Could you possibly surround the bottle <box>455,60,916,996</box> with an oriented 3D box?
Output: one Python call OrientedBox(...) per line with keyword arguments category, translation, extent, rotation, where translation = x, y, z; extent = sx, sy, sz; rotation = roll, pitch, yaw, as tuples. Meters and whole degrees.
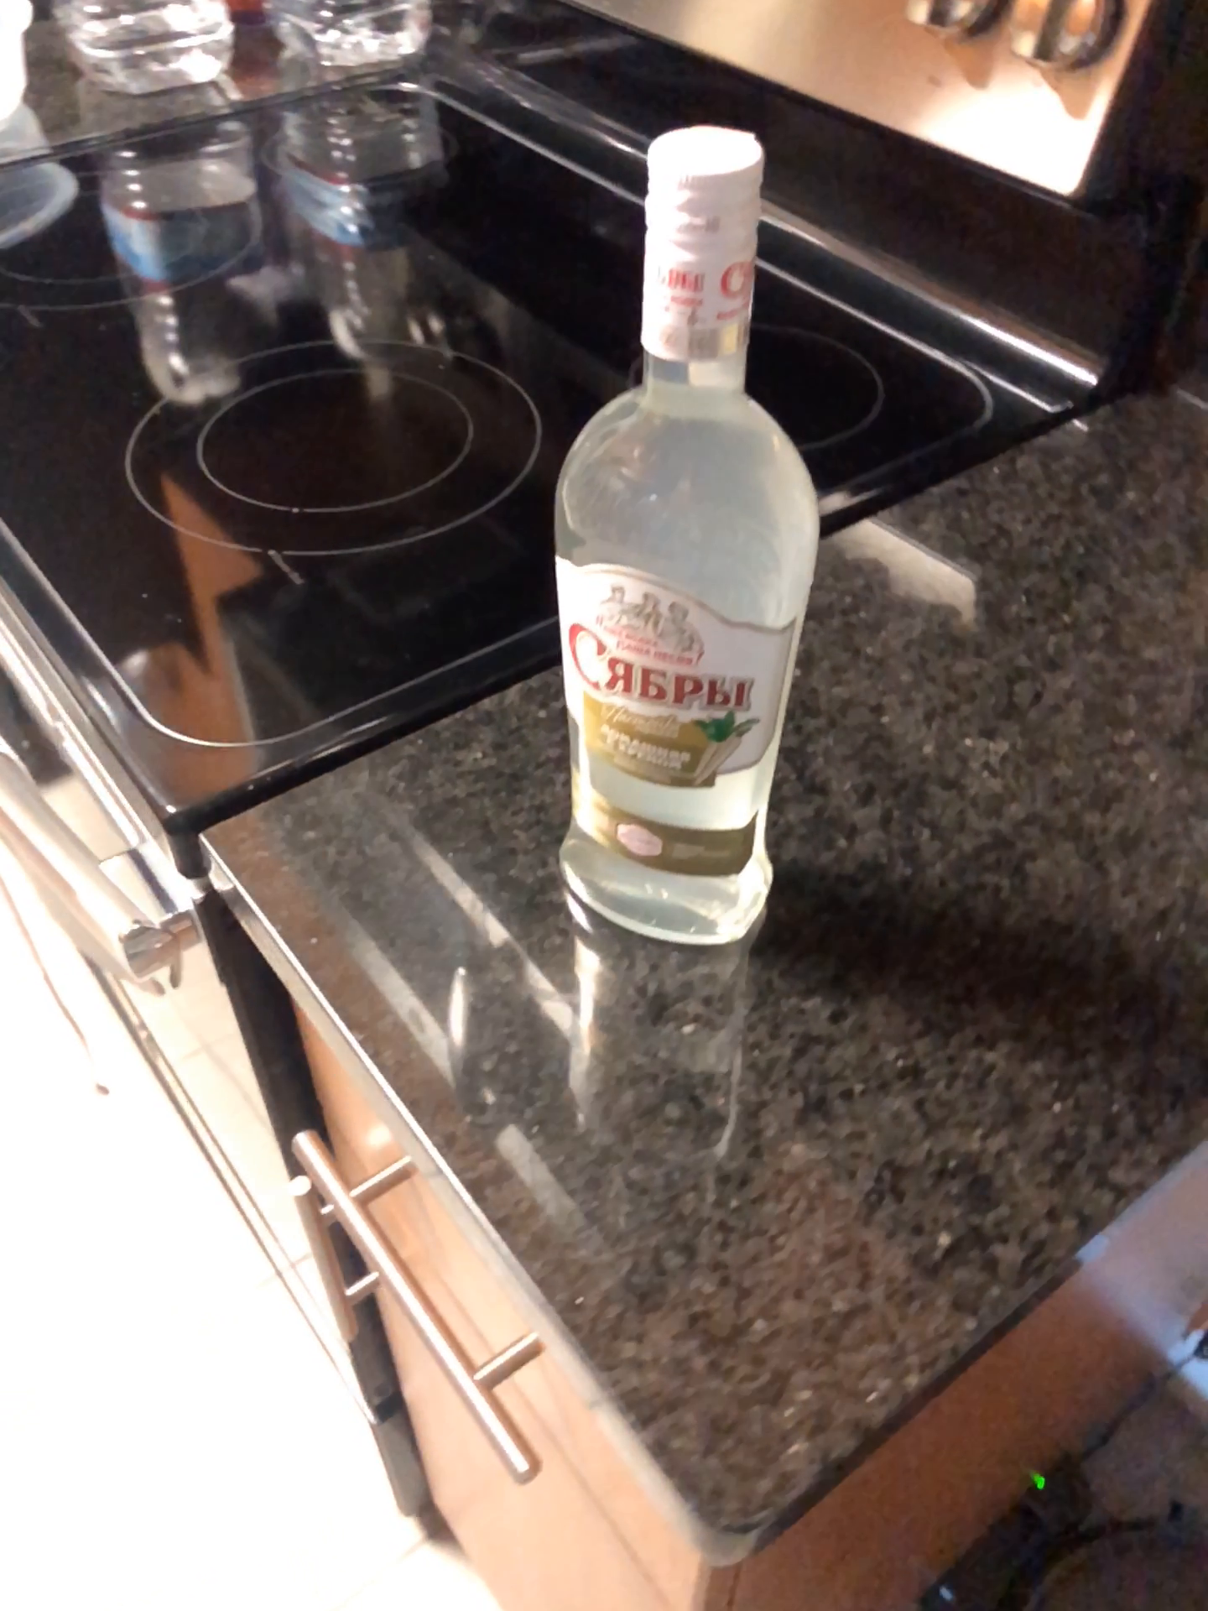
OrientedBox(category="bottle", translation=(0.019, -0.064, 0.409), extent=(0.090, 0.269, 0.060), rotation=(25, 50, 23))
